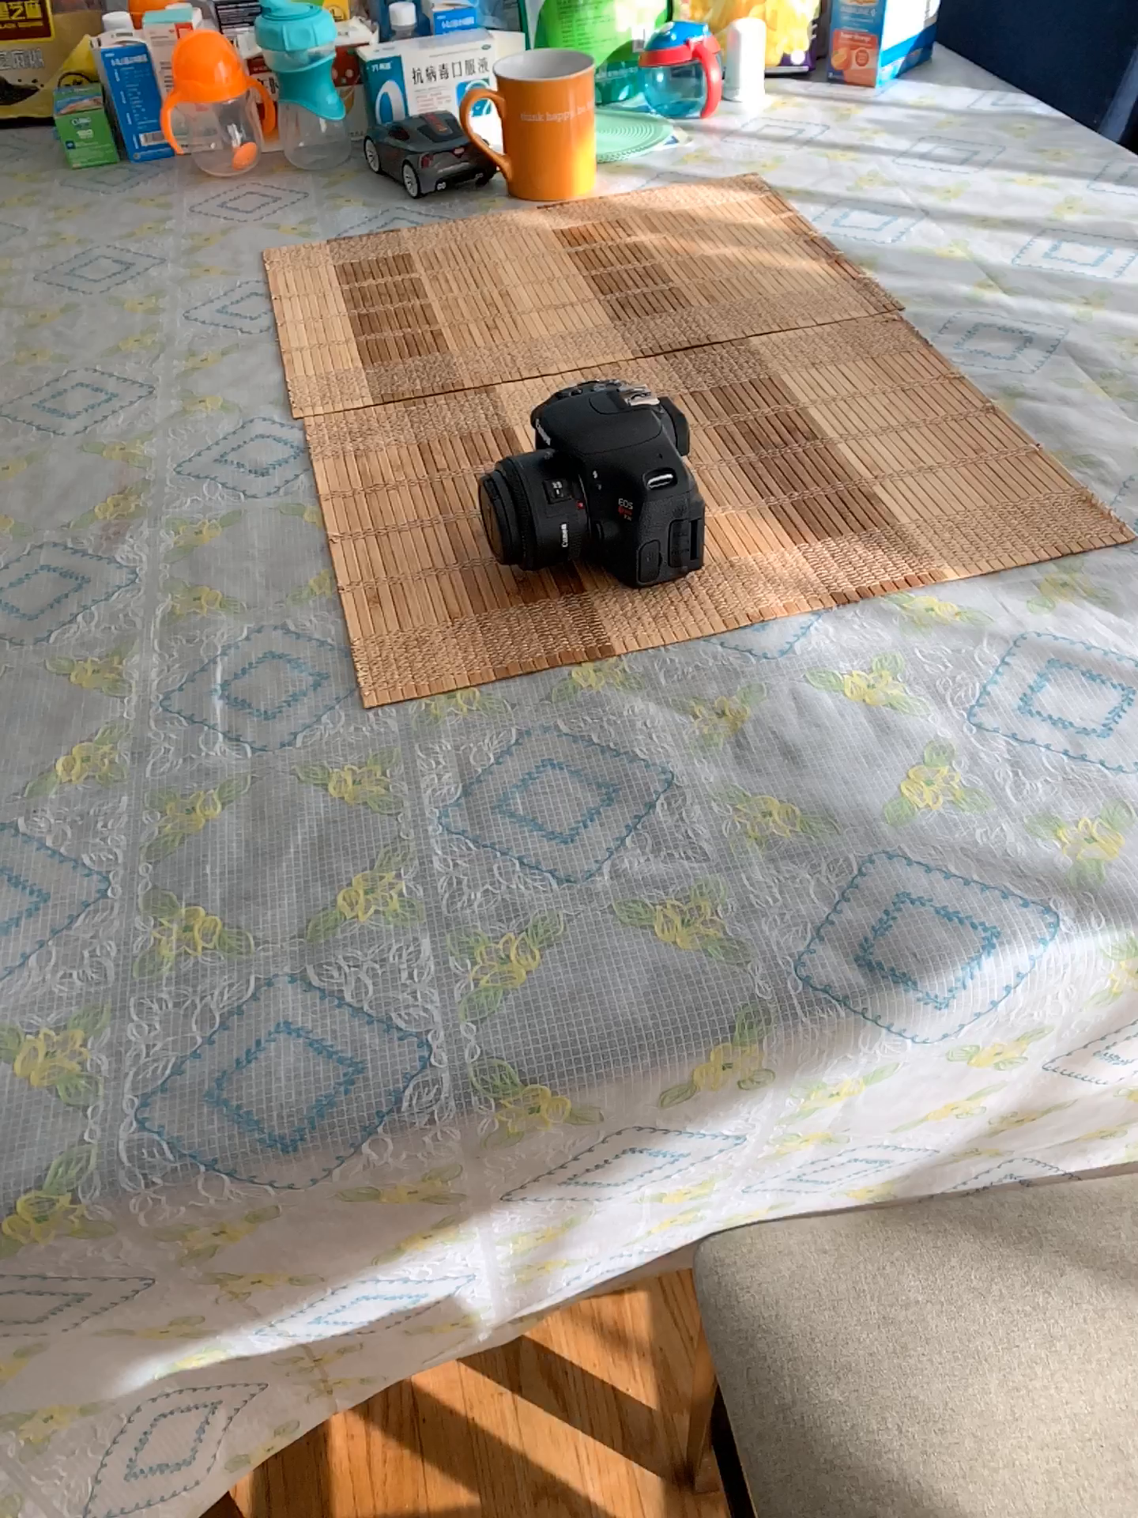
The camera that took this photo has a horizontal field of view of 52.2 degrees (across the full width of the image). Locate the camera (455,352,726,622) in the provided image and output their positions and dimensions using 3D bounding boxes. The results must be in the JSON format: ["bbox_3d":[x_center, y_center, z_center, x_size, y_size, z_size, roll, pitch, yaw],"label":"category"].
[{"bbox_3d":[0.011,-0.160,0.677,0.125,0.092,0.101,-15,46,-10],"label":"camera"}]
